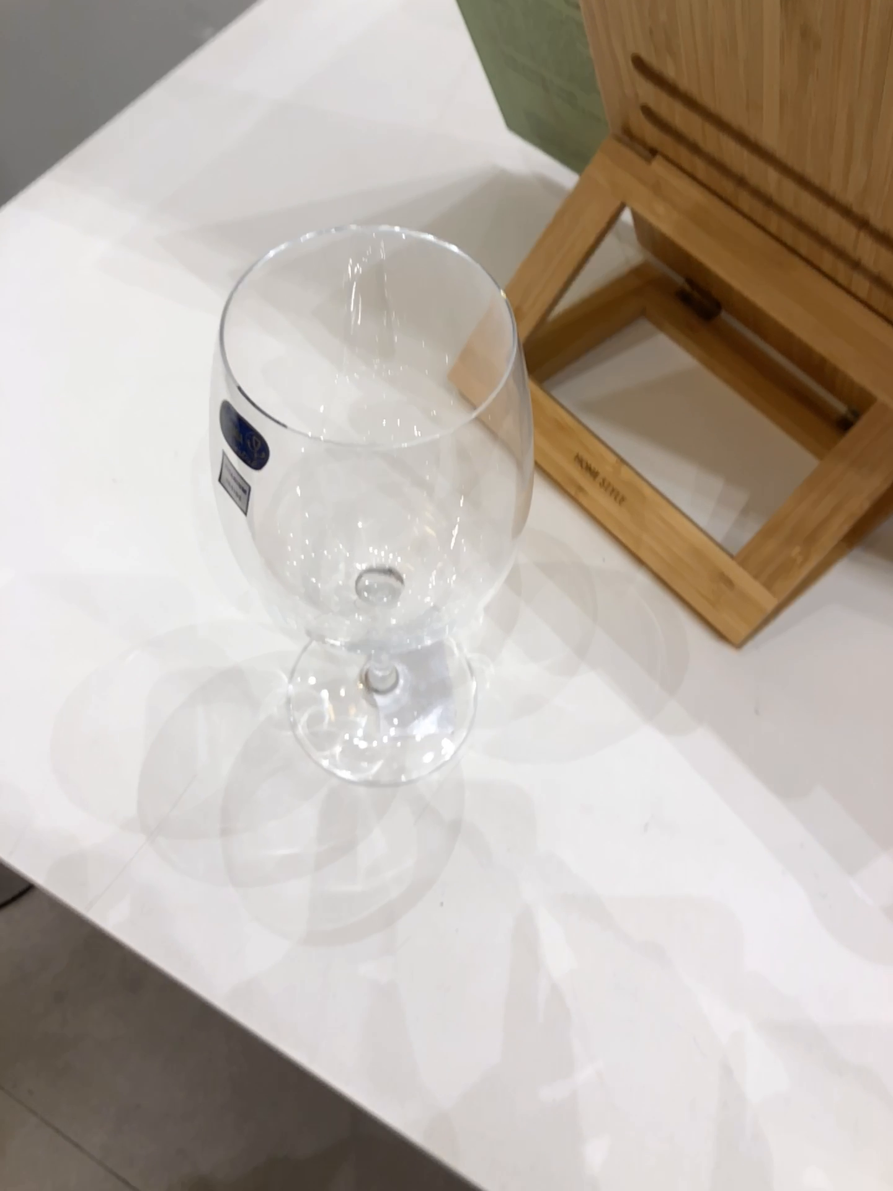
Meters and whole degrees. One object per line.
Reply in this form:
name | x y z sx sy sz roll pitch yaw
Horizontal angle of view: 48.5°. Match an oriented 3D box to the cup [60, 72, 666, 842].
cup | -0.023 -0.017 0.324 0.100 0.239 0.090 33 64 14
